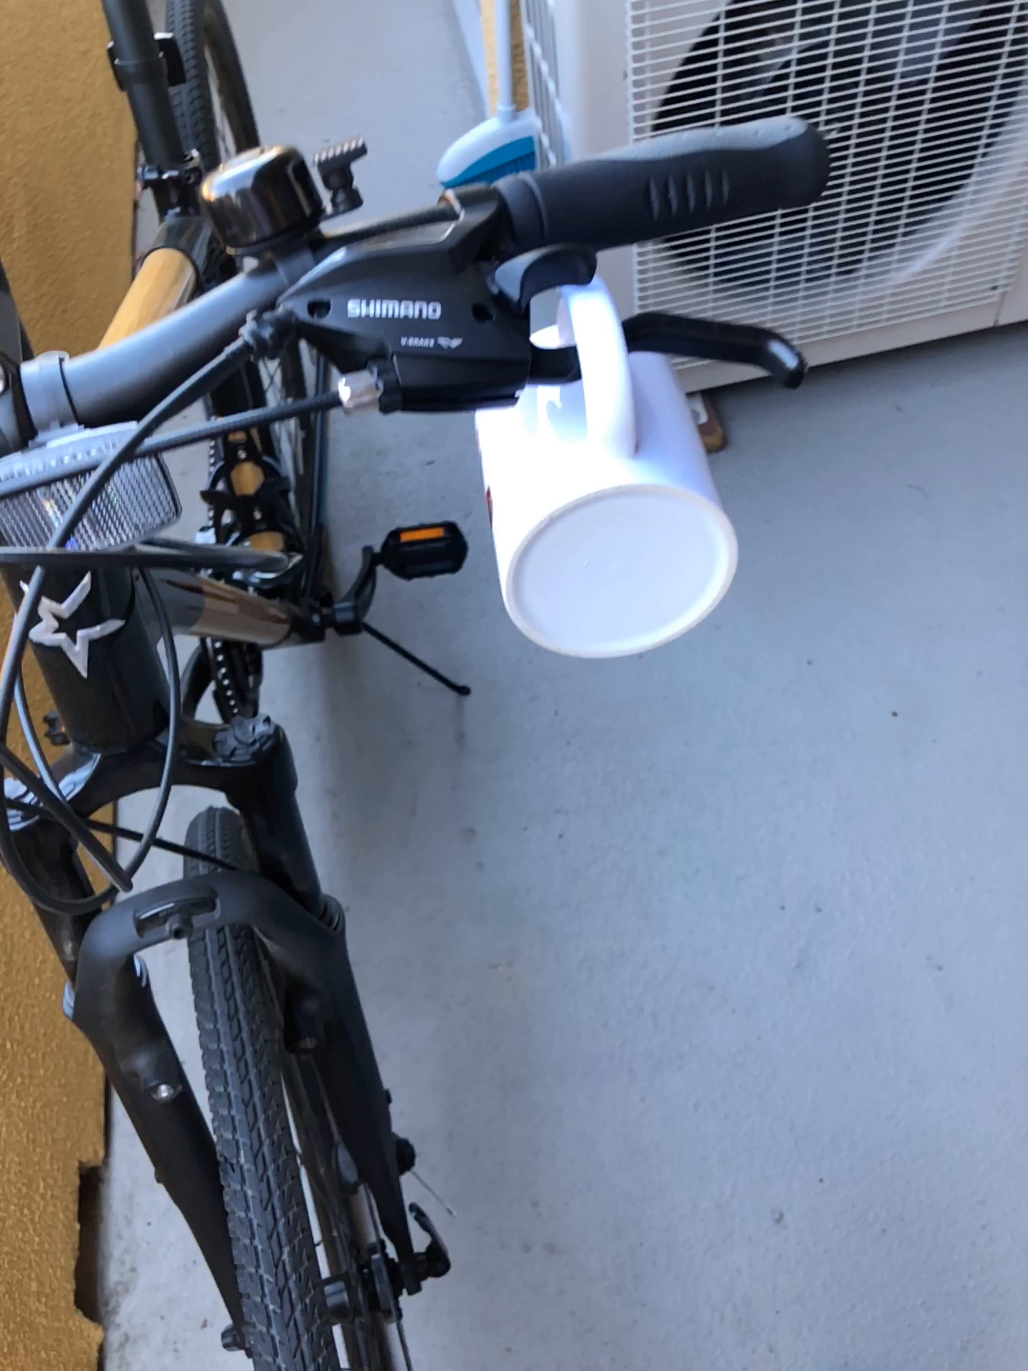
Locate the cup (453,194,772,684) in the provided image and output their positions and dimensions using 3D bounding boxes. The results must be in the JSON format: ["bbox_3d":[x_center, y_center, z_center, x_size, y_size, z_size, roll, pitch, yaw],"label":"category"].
[{"bbox_3d":[0.027,-0.085,0.407,0.090,0.120,0.120,-1,53,-1],"label":"cup"}]
